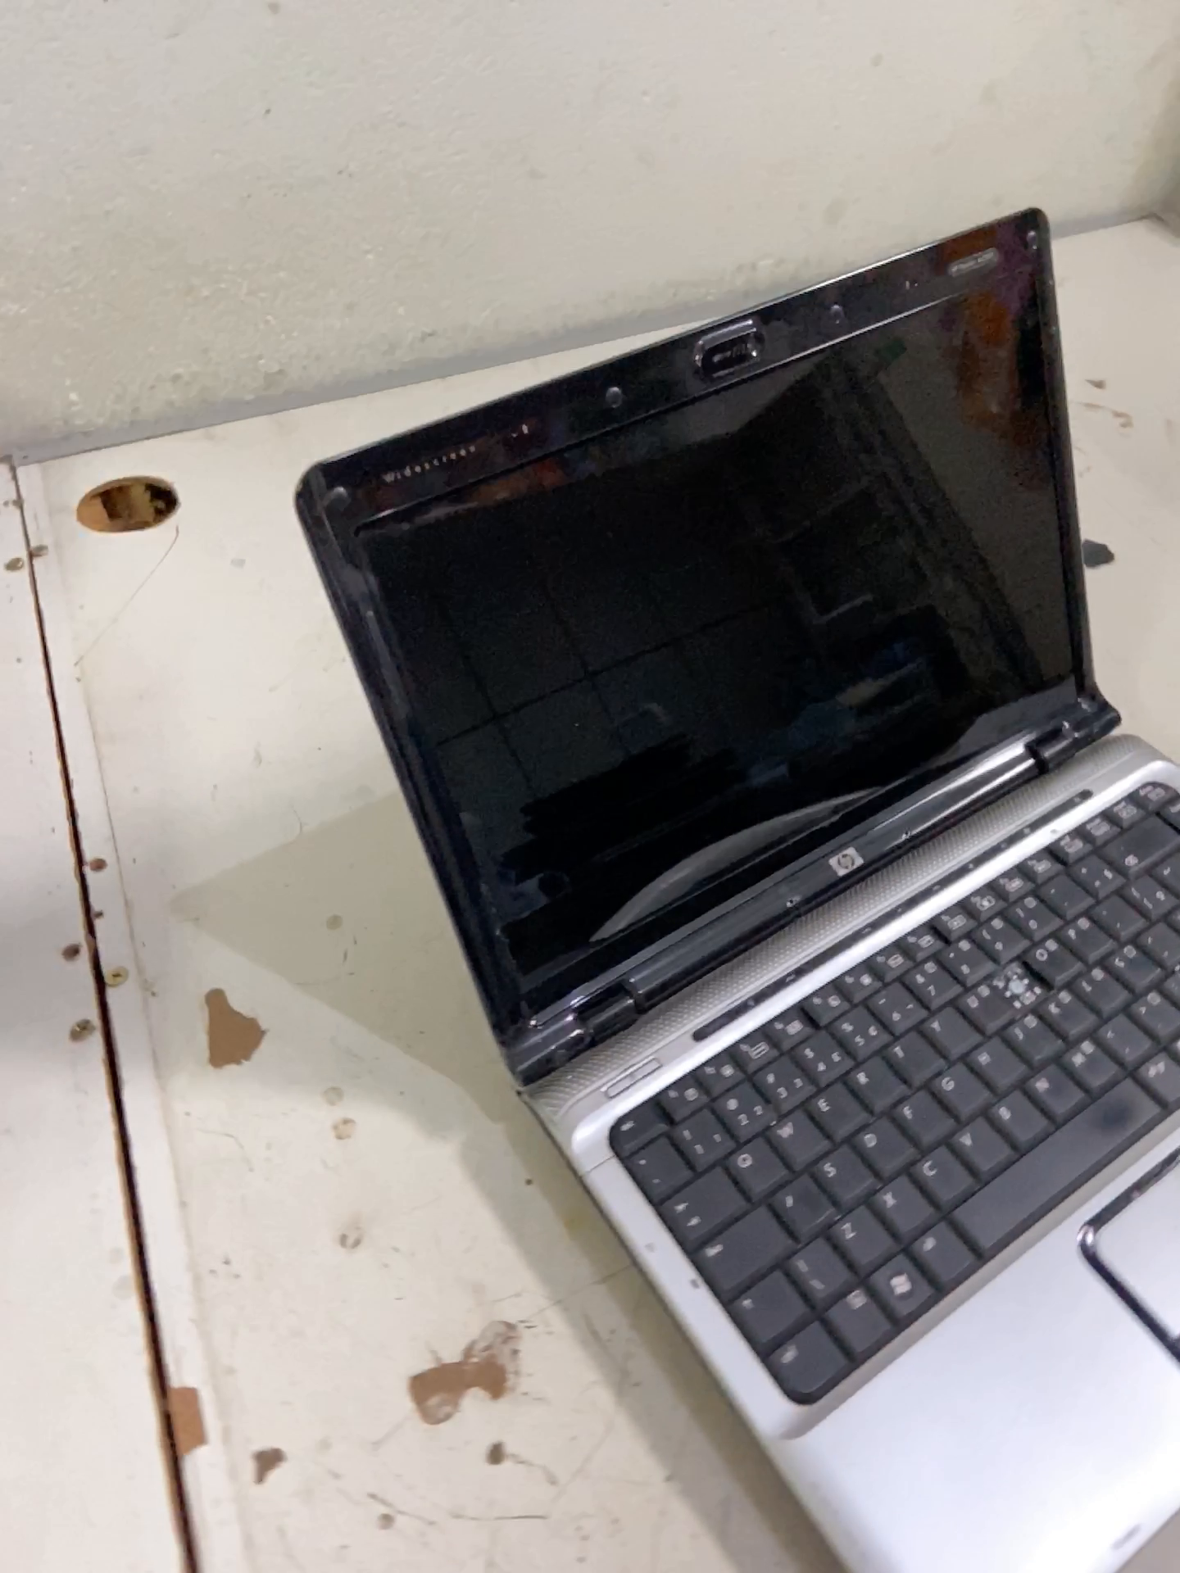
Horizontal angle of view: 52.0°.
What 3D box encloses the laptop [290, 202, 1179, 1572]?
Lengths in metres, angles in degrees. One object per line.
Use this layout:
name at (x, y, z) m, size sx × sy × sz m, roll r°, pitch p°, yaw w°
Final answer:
laptop at (0.138, 0.006, 0.401) m, size 0.321 × 0.193 × 0.334 m, roll -27°, pitch 54°, yaw -22°
